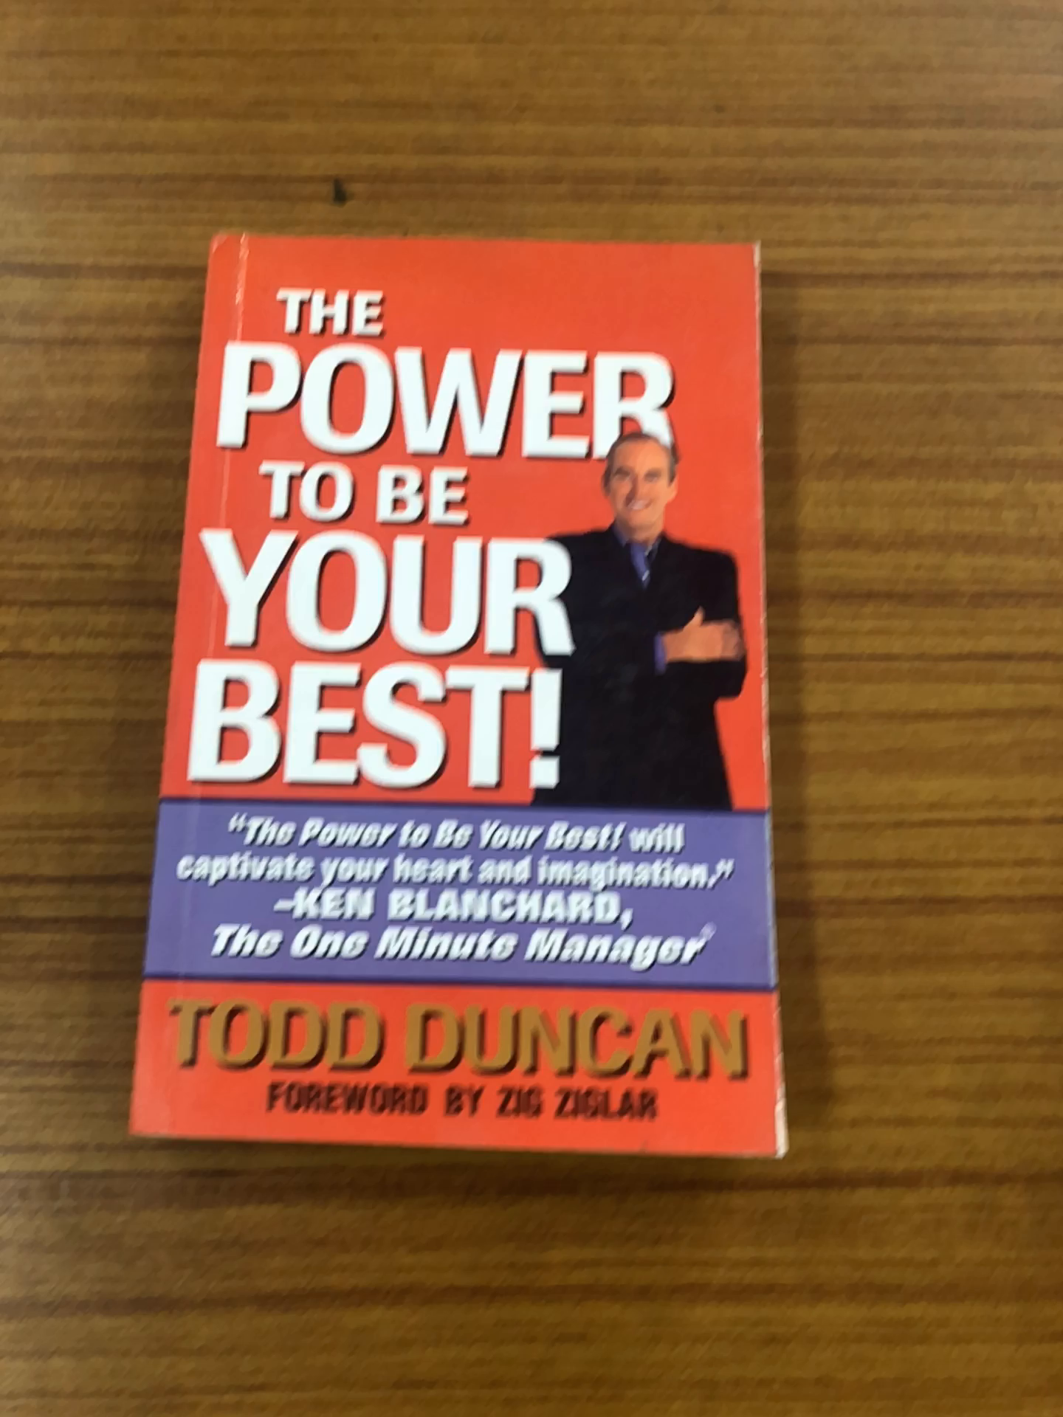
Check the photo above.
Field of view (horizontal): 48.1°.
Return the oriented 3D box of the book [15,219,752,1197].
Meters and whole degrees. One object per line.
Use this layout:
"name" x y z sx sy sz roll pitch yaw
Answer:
"book" -0.028 -0.006 0.281 0.150 0.030 0.220 1 78 0
